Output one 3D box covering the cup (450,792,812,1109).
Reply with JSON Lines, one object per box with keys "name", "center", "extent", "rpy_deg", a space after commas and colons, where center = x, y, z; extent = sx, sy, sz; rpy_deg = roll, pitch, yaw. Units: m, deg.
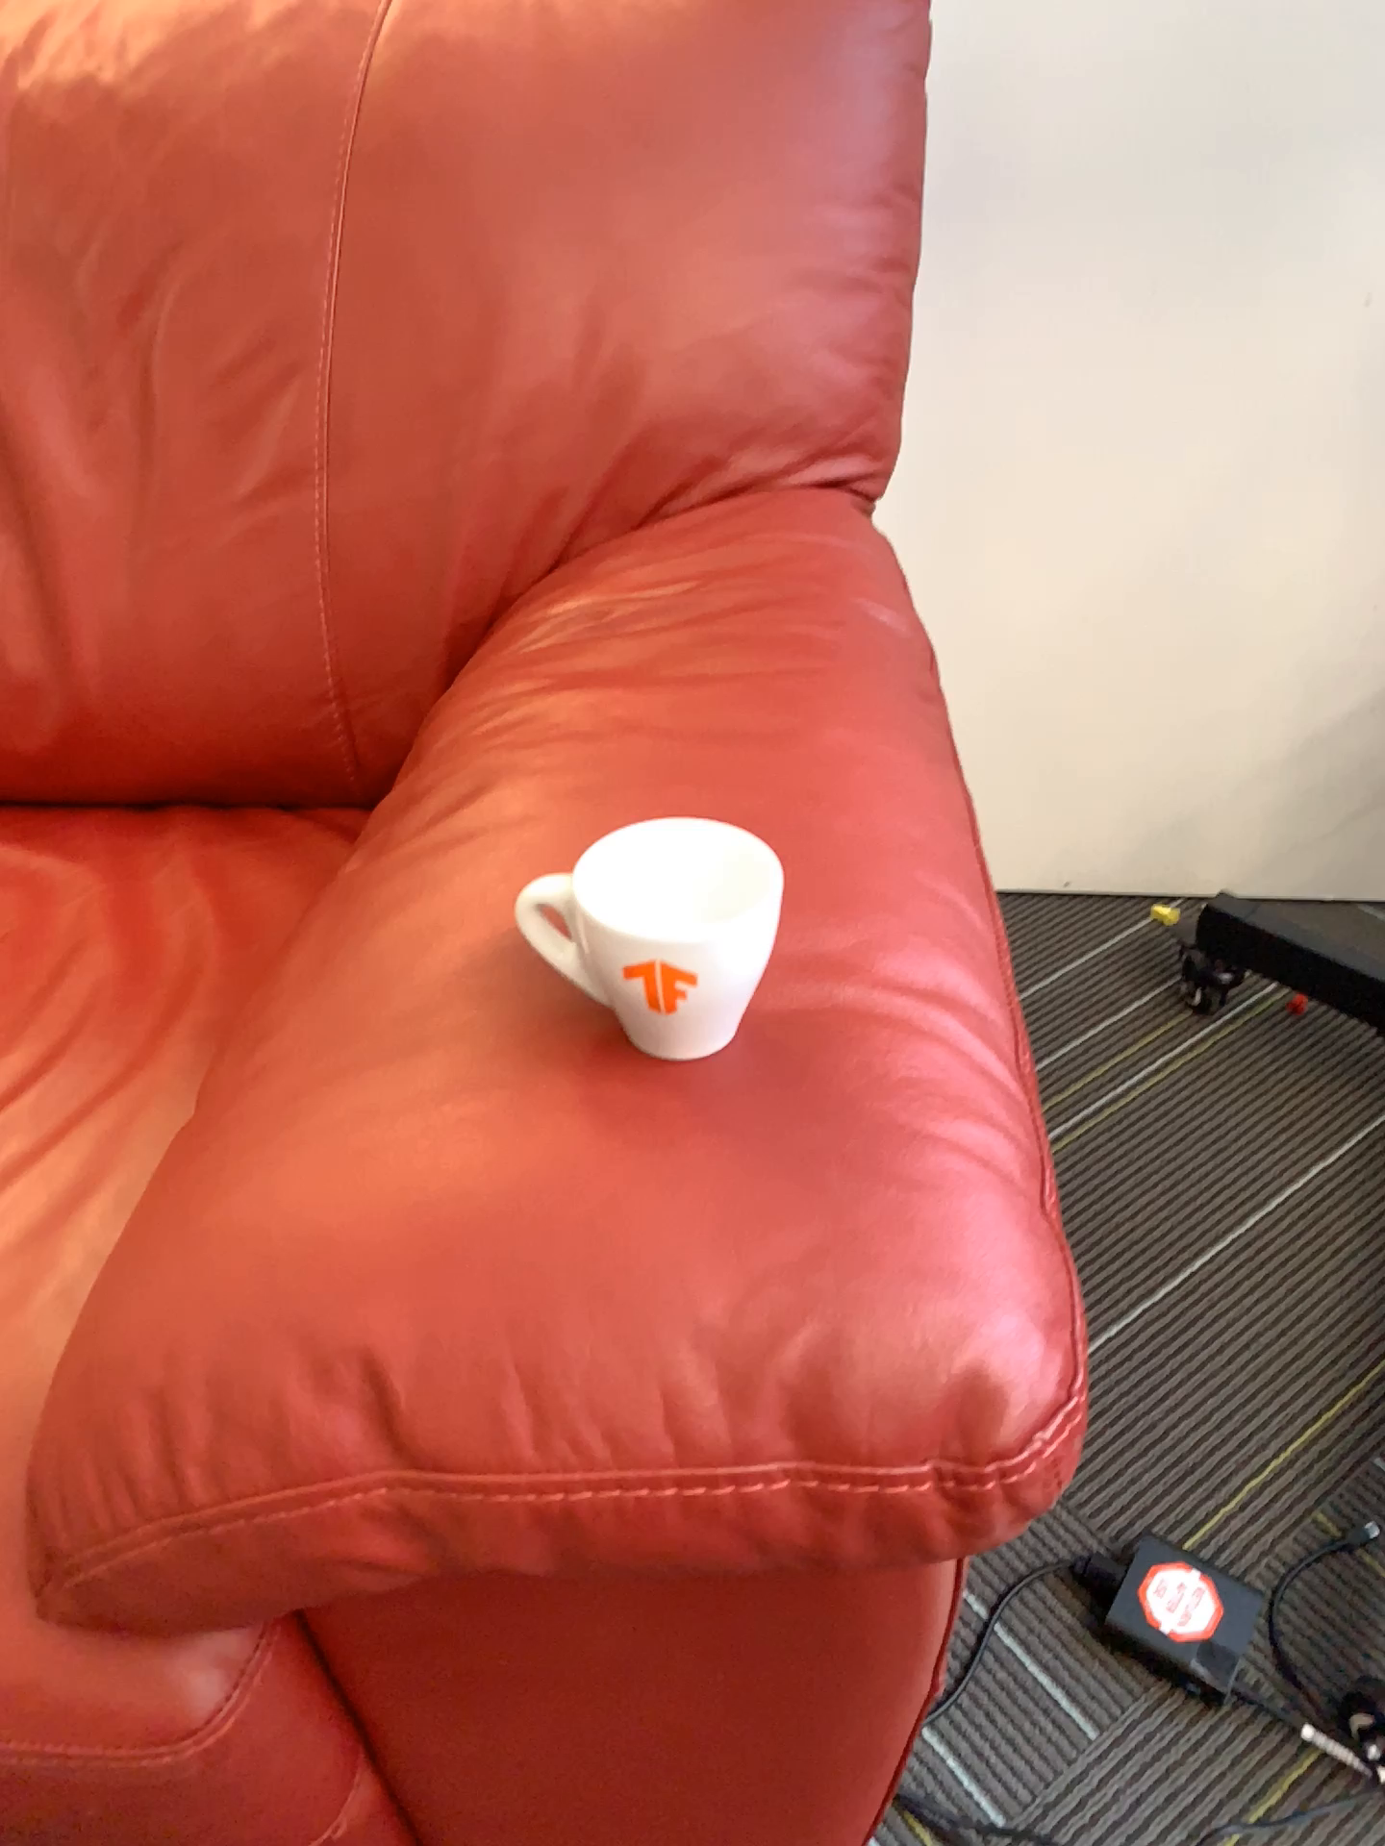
{"name": "cup", "center": [-0.015, 0.007, 0.432], "extent": [0.090, 0.060, 0.060], "rpy_deg": [8, 39, 17]}
